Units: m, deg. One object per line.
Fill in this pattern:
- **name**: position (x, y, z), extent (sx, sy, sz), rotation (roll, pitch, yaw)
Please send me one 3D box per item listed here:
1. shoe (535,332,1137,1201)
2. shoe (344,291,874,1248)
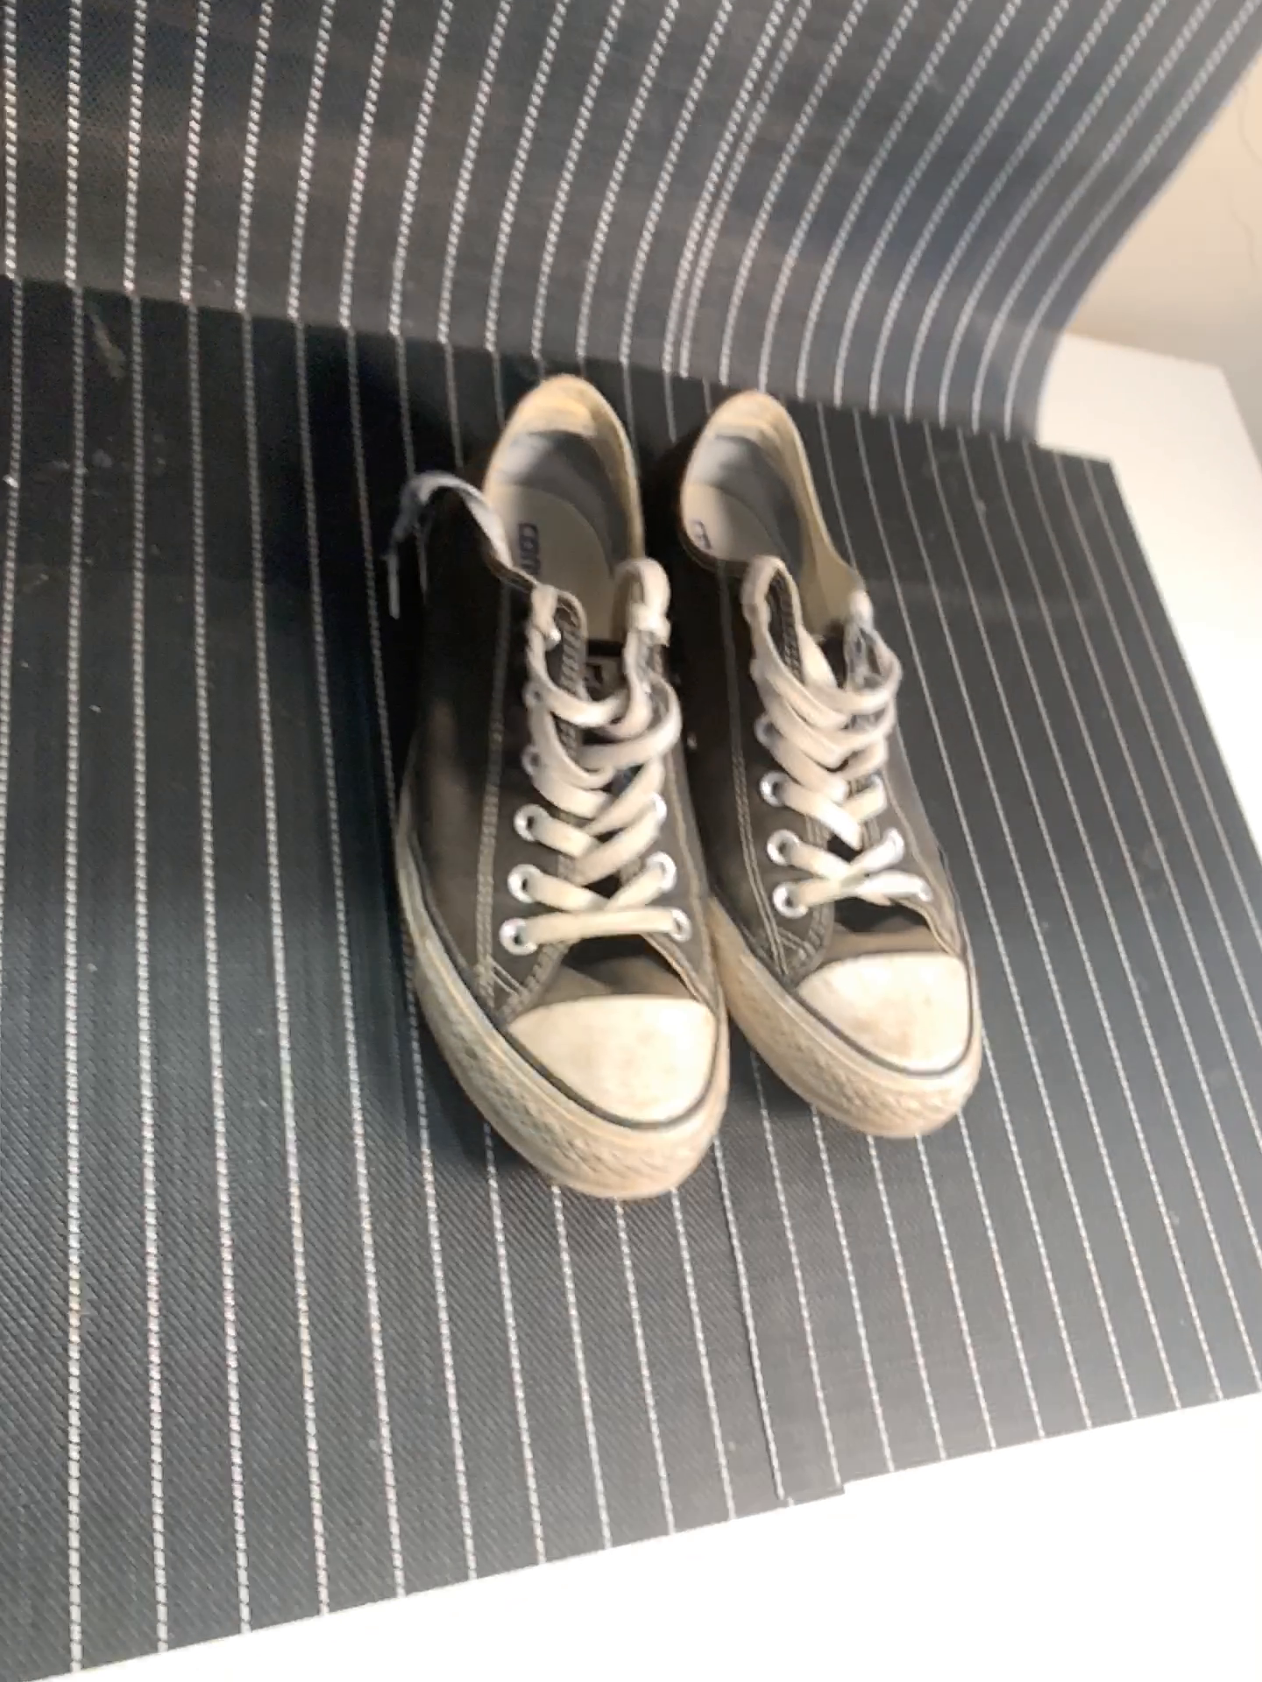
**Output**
- **shoe**: position (0.061, -0.037, 0.480), extent (0.110, 0.080, 0.300), rotation (-4, 67, -26)
- **shoe**: position (-0.021, -0.032, 0.436), extent (0.110, 0.080, 0.301), rotation (1, 65, -24)
